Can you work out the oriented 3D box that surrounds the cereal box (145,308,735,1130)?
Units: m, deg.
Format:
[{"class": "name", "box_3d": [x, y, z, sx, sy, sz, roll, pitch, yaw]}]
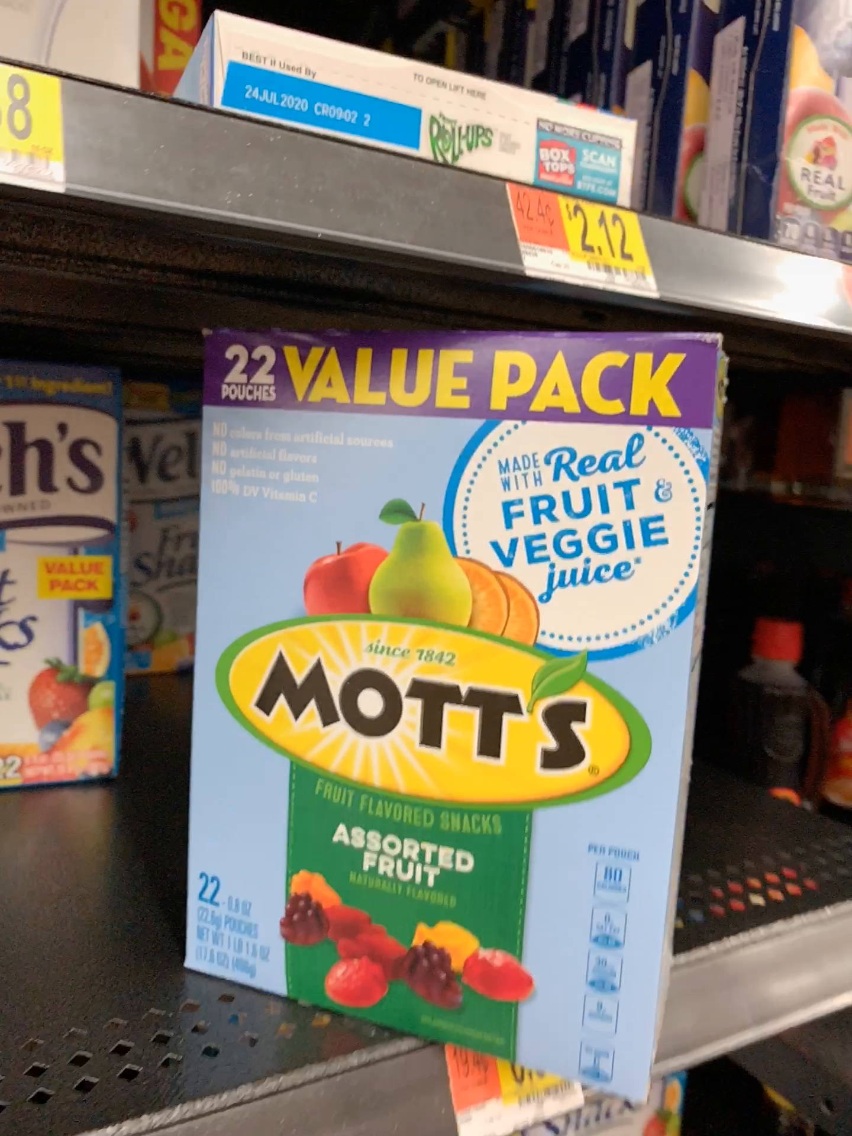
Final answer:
[{"class": "cereal box", "box_3d": [0.000, 0.039, 0.311, 0.180, 0.240, 0.060, 6, 8, 18]}]
